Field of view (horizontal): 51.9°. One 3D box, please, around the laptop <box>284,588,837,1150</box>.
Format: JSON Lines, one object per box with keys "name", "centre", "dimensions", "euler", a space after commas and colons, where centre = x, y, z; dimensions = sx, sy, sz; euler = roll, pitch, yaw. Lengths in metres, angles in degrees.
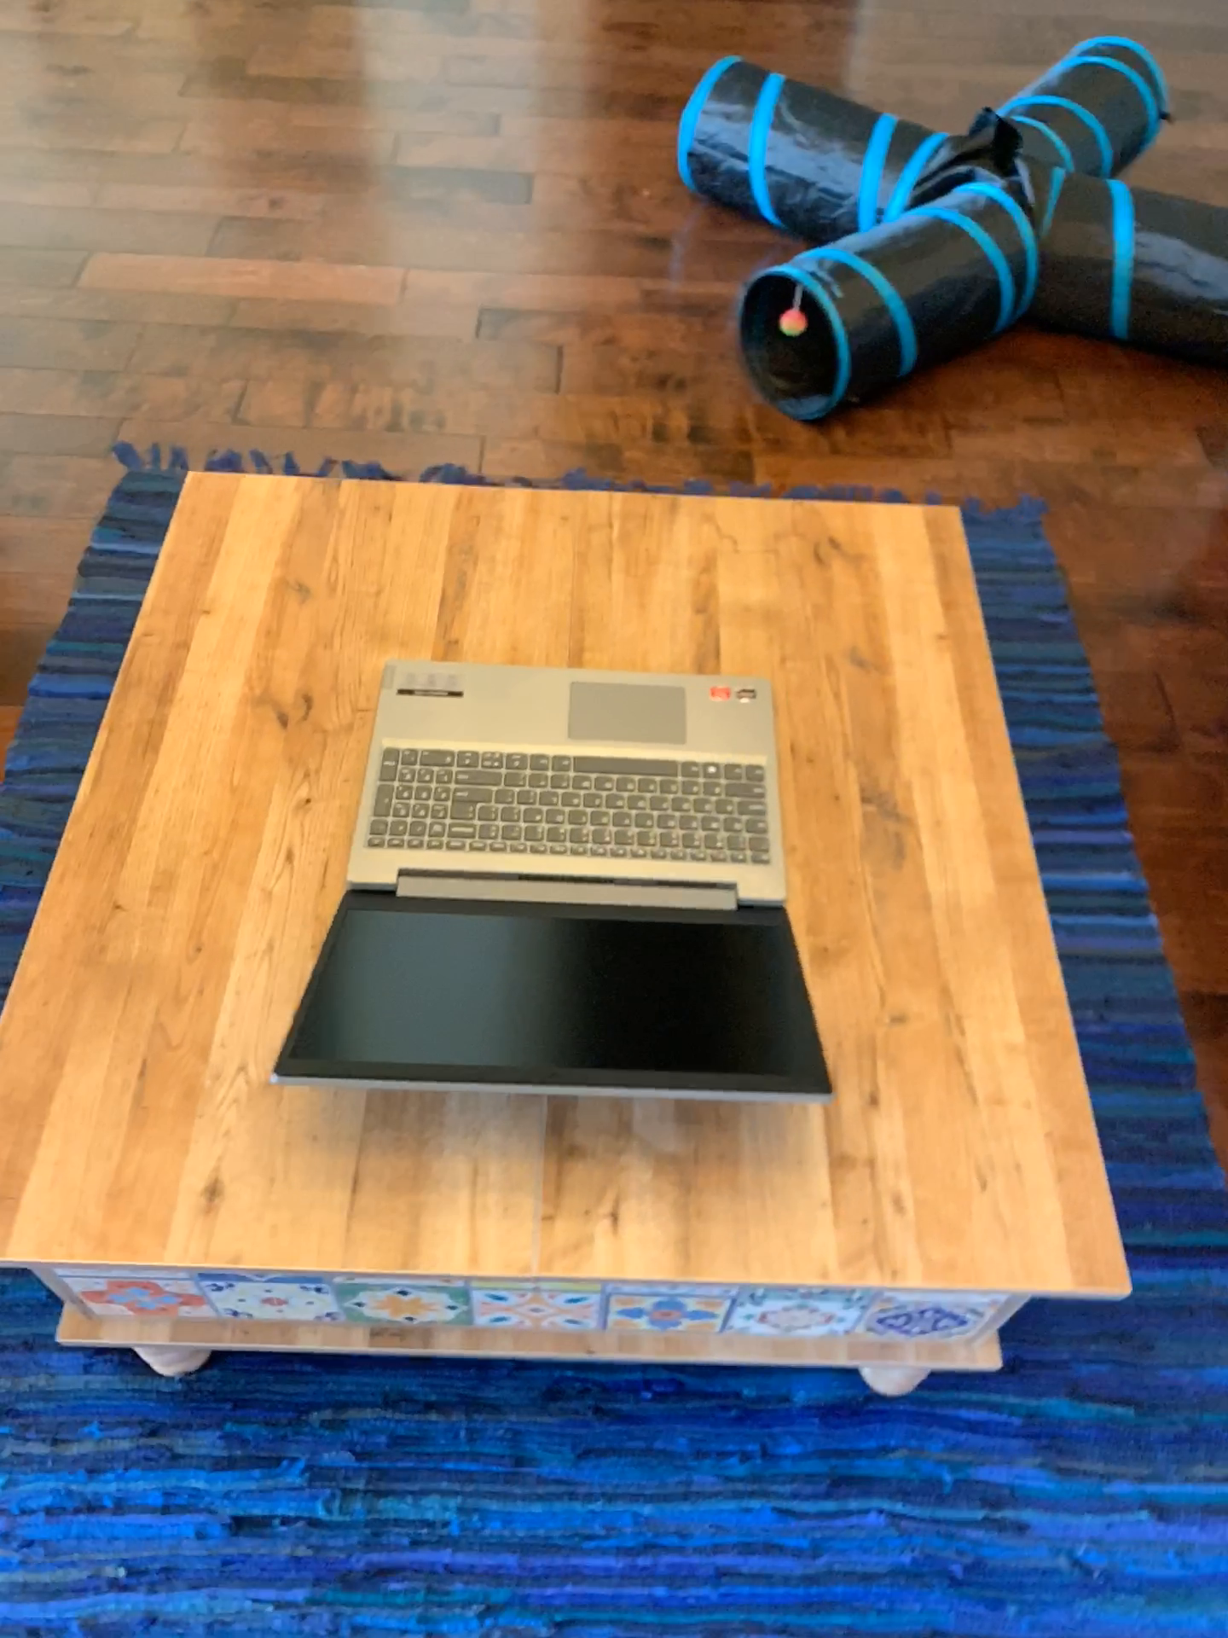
{"name": "laptop", "centre": [-0.029, 0.015, 0.977], "dimensions": [0.346, 0.099, 0.462], "euler": [3, 50, -1]}
